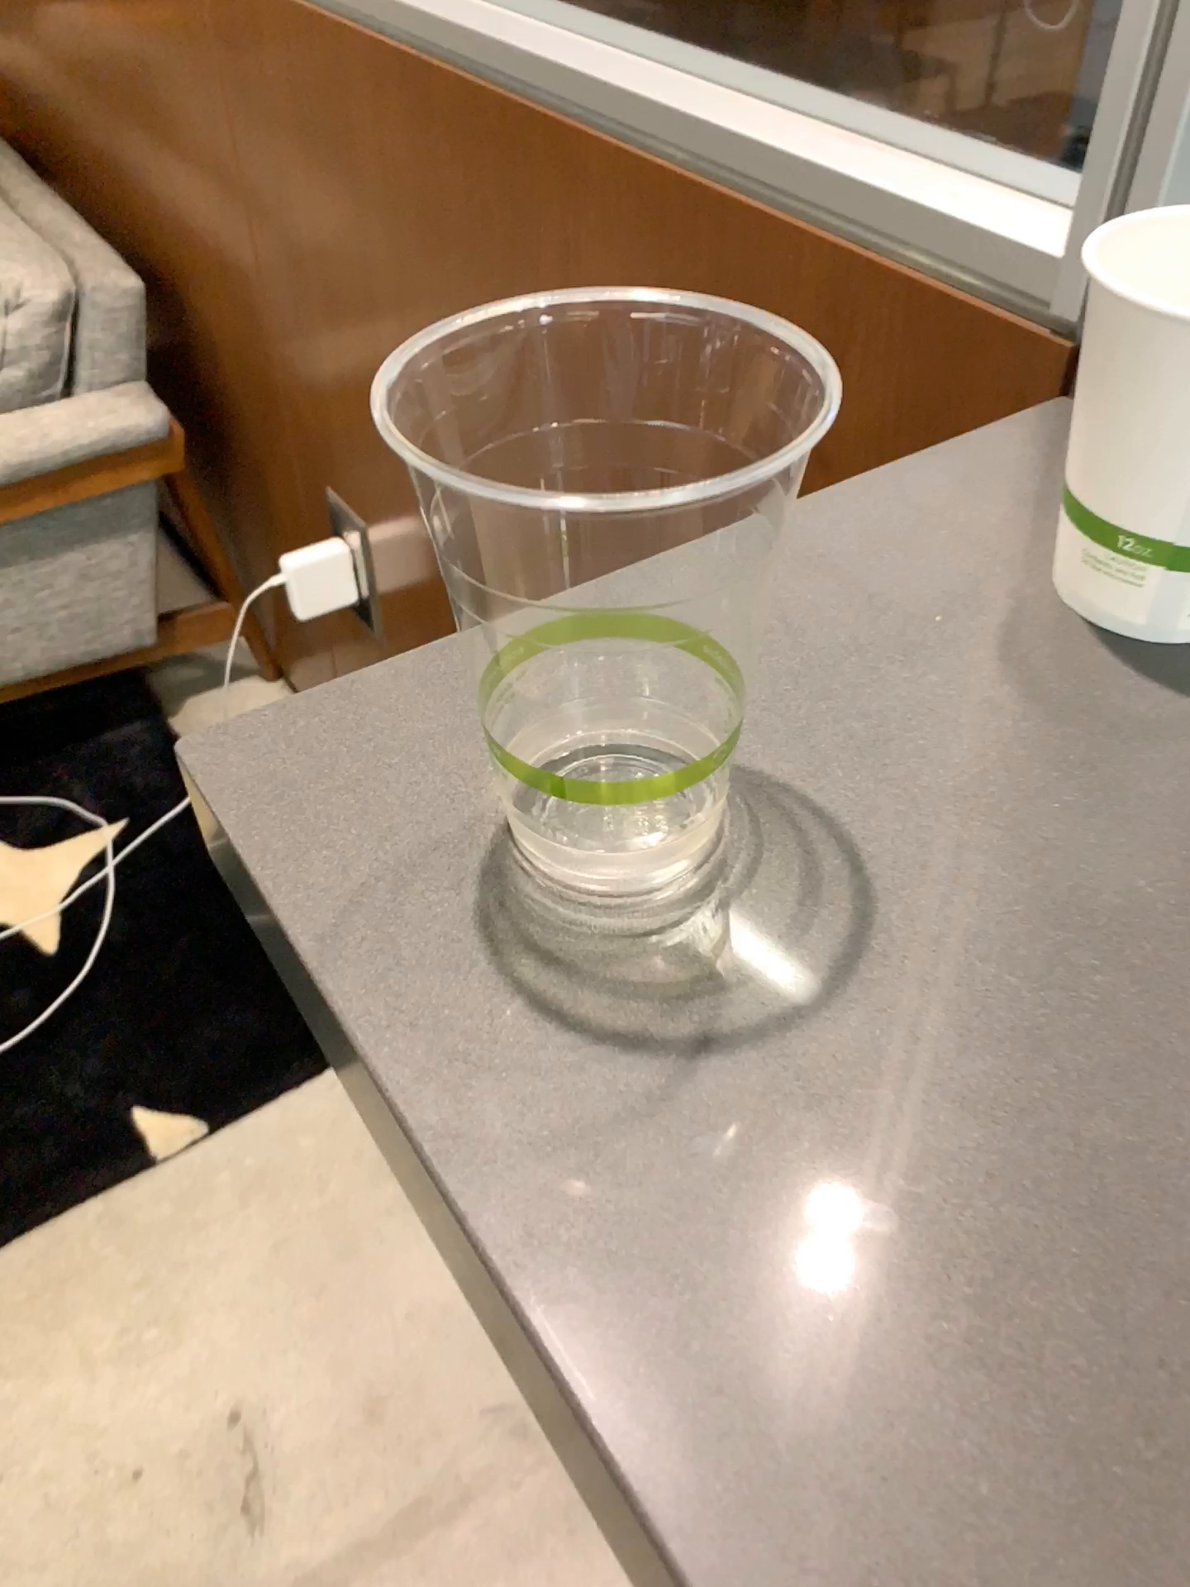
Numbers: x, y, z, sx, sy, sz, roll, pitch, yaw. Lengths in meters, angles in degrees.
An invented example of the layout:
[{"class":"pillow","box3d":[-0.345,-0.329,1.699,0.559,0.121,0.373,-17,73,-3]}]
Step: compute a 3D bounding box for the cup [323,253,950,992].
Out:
[{"class":"cup","box3d":[0.005,-0.041,0.282,0.090,0.119,0.090,0,43,0]}]
